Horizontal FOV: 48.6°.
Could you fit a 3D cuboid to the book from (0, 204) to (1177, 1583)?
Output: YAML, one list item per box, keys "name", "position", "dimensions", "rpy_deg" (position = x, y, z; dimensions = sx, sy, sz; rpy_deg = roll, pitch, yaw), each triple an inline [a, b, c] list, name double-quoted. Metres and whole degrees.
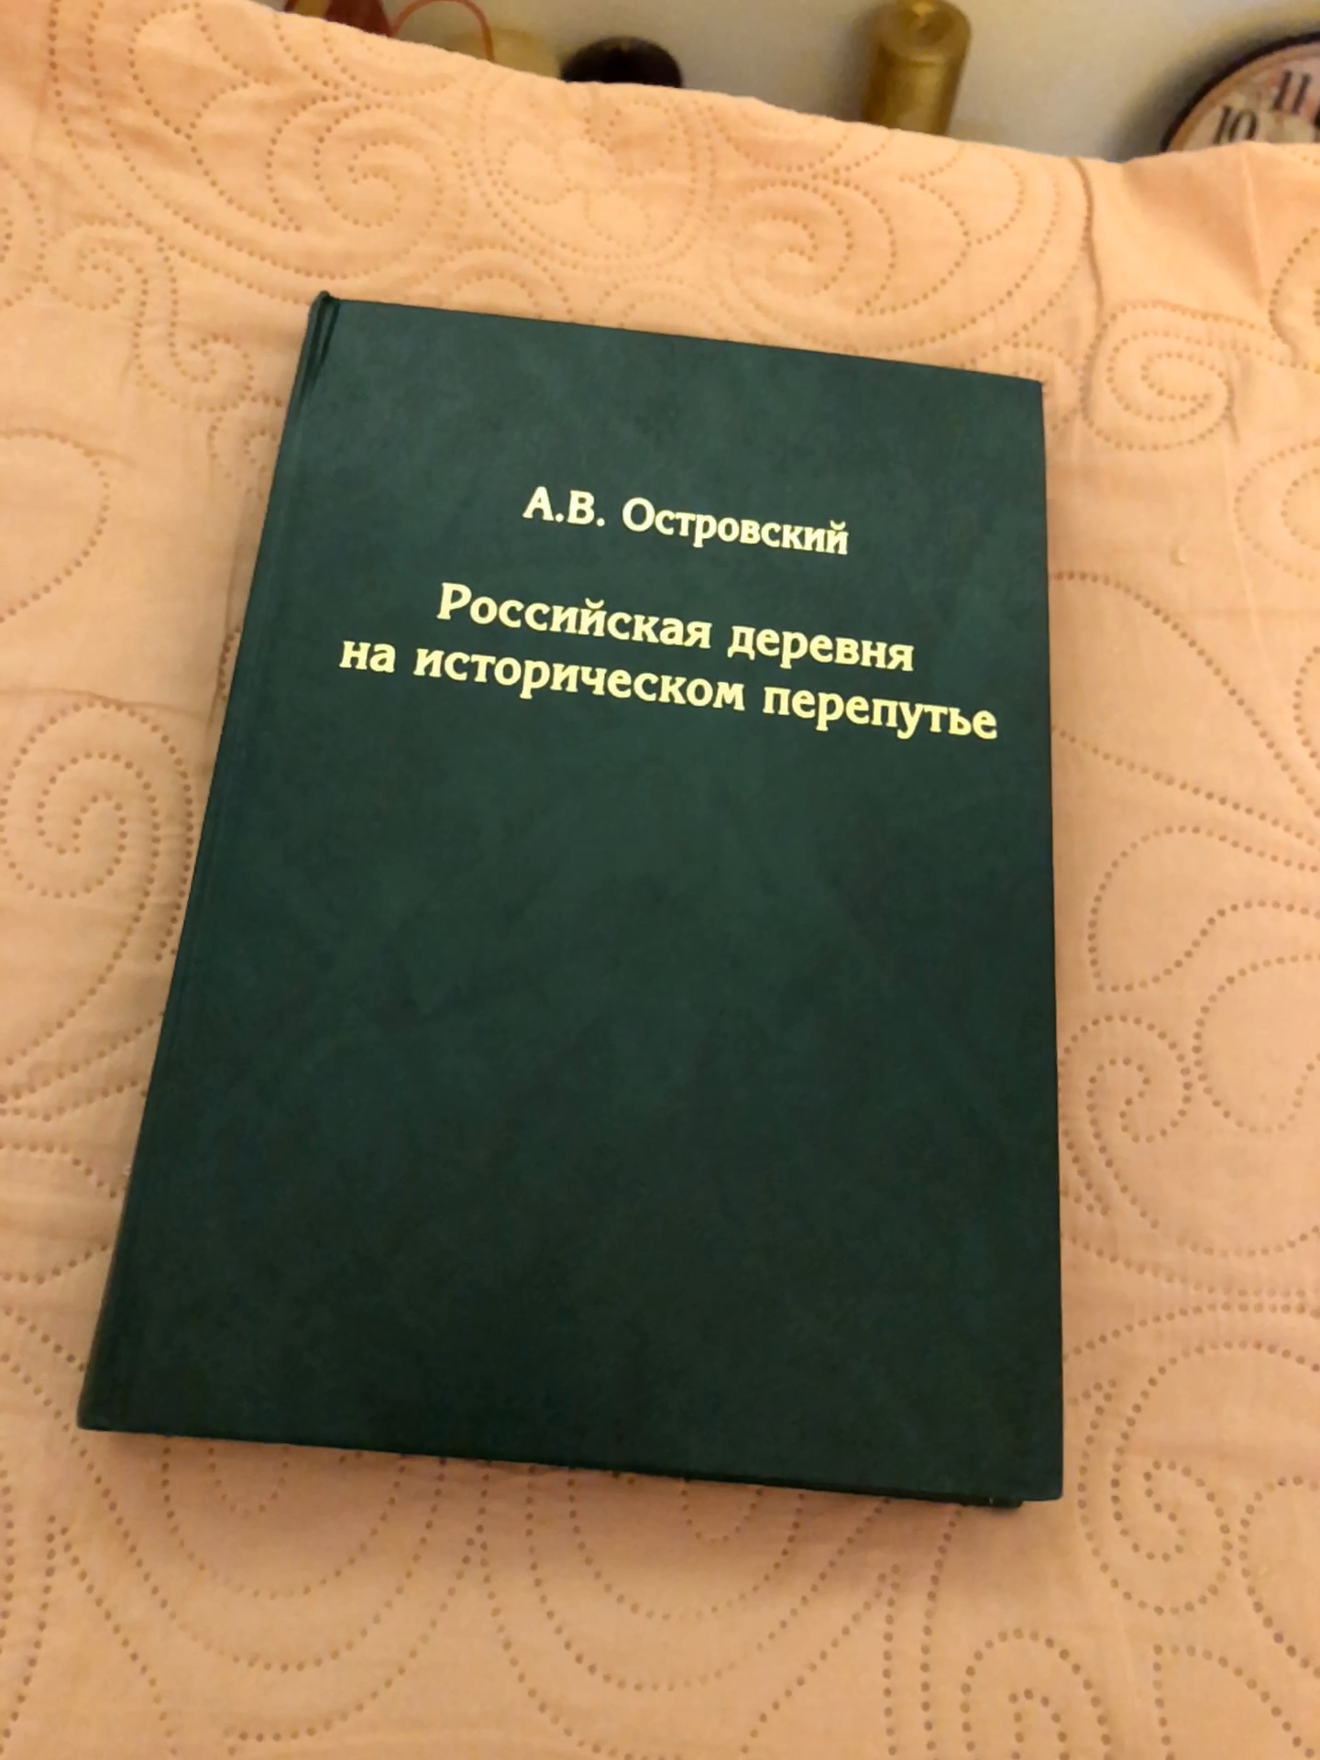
- name: "book"
  position: [-0.004, -0.010, 0.276]
  dimensions: [0.180, 0.040, 0.241]
  rpy_deg: [6, 69, -2]
